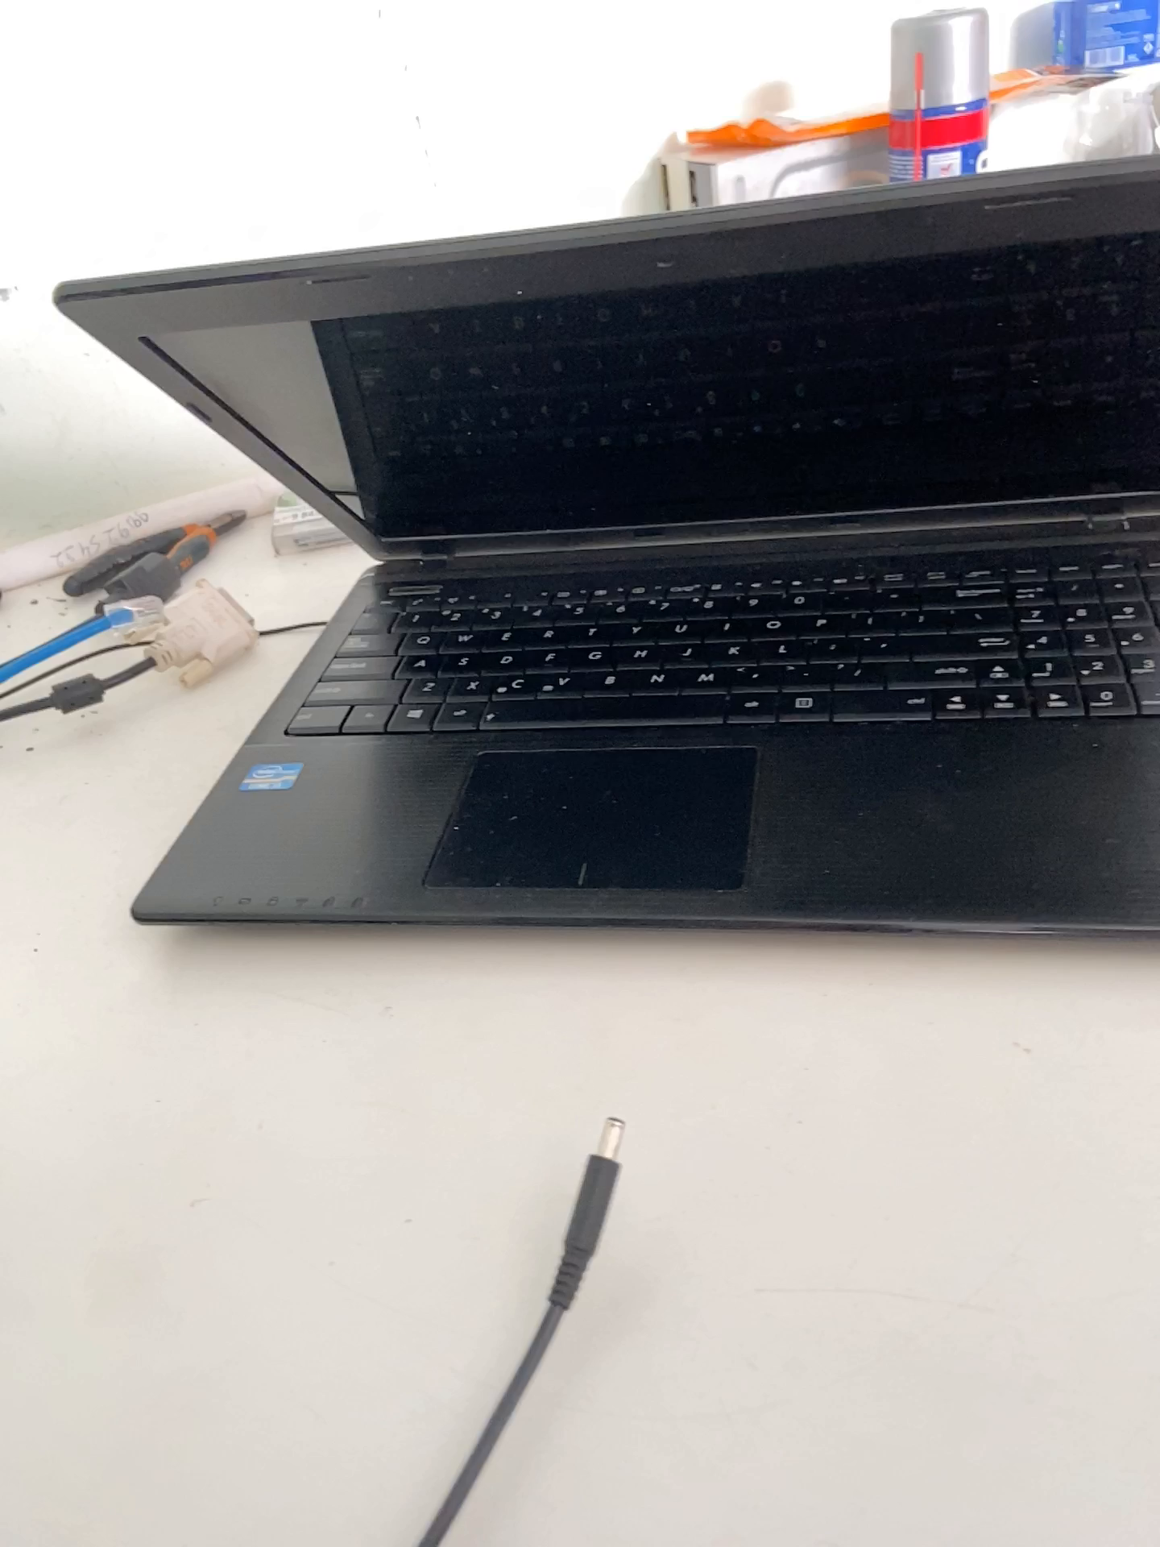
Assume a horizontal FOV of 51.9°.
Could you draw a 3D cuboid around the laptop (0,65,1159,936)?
[{"bbox_3d":[0.042,-0.100,0.409,0.375,0.166,0.248,-1,36,14],"label":"laptop"}]
